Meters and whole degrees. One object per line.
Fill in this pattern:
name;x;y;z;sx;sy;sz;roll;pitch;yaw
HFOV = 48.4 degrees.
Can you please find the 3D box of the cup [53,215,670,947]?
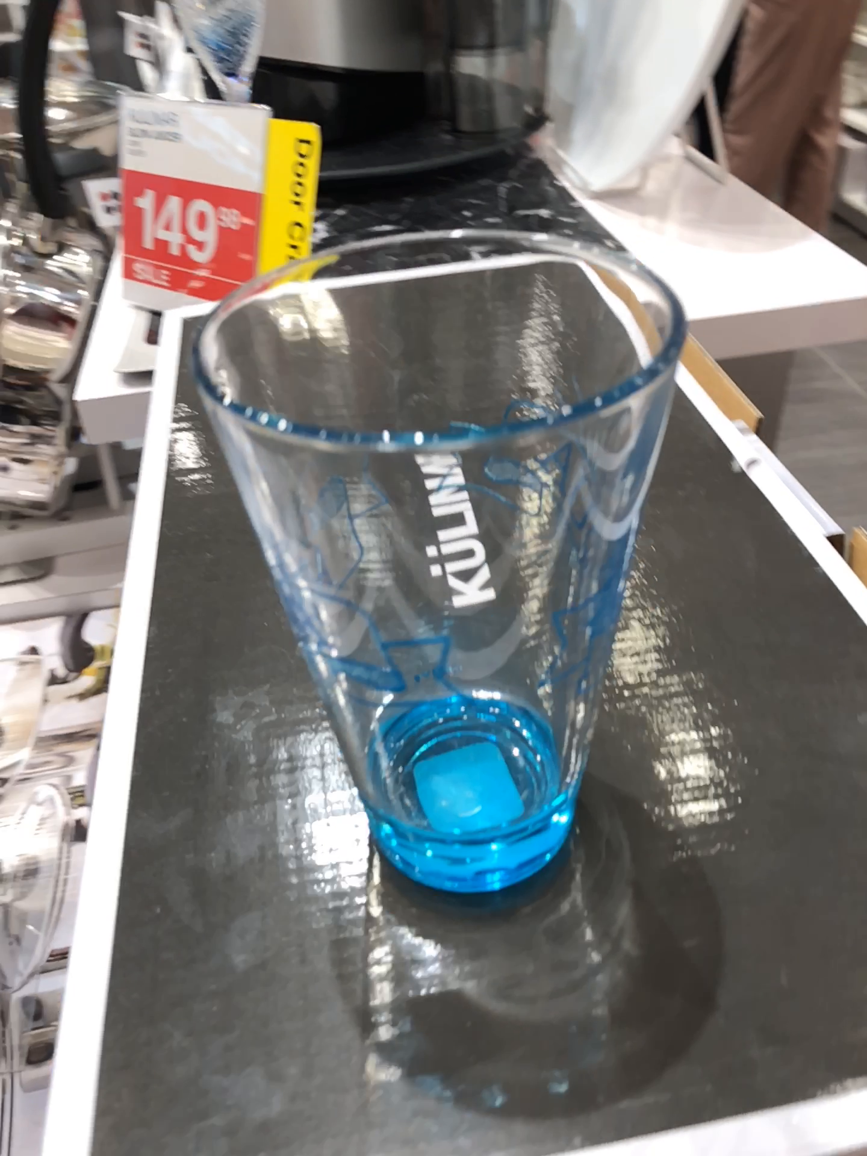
cup;-0.001;-0.001;0.187;0.080;0.110;0.080;-3;38;2
